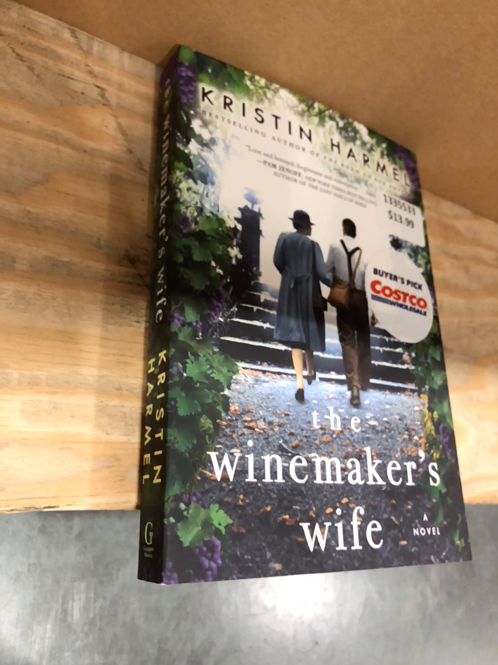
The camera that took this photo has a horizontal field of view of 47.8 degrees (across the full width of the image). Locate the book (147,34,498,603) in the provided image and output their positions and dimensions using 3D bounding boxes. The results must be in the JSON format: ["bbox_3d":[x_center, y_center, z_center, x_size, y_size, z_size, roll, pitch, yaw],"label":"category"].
[{"bbox_3d":[0.036,-0.008,0.261,0.155,0.035,0.229,11,65,-30],"label":"book"}]
